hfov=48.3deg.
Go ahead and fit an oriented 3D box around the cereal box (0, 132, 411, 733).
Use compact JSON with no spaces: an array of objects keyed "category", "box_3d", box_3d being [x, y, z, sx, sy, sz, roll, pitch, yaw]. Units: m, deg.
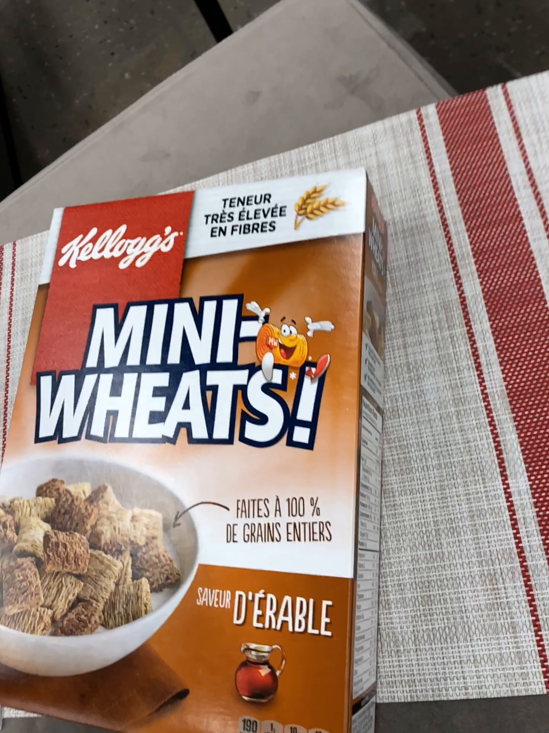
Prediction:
[{"category":"cereal box","box_3d":[-0.042,0.033,0.320,0.210,0.060,0.280,-2,73,21]}]
